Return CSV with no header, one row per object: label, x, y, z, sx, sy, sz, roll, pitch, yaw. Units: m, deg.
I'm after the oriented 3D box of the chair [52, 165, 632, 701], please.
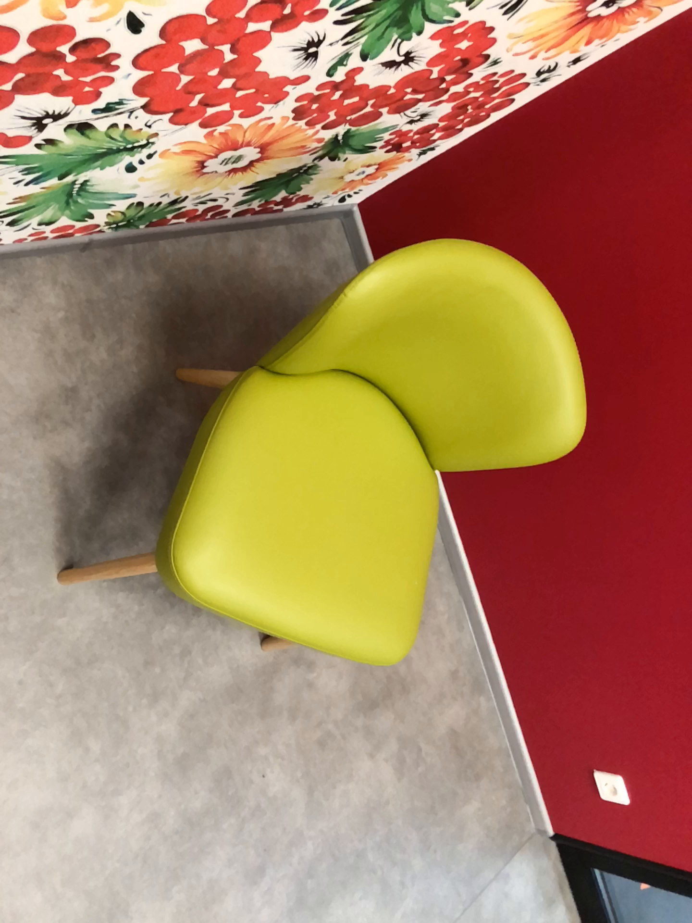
chair,-0.027,0.023,1.332,0.521,0.776,0.571,30,65,-33
